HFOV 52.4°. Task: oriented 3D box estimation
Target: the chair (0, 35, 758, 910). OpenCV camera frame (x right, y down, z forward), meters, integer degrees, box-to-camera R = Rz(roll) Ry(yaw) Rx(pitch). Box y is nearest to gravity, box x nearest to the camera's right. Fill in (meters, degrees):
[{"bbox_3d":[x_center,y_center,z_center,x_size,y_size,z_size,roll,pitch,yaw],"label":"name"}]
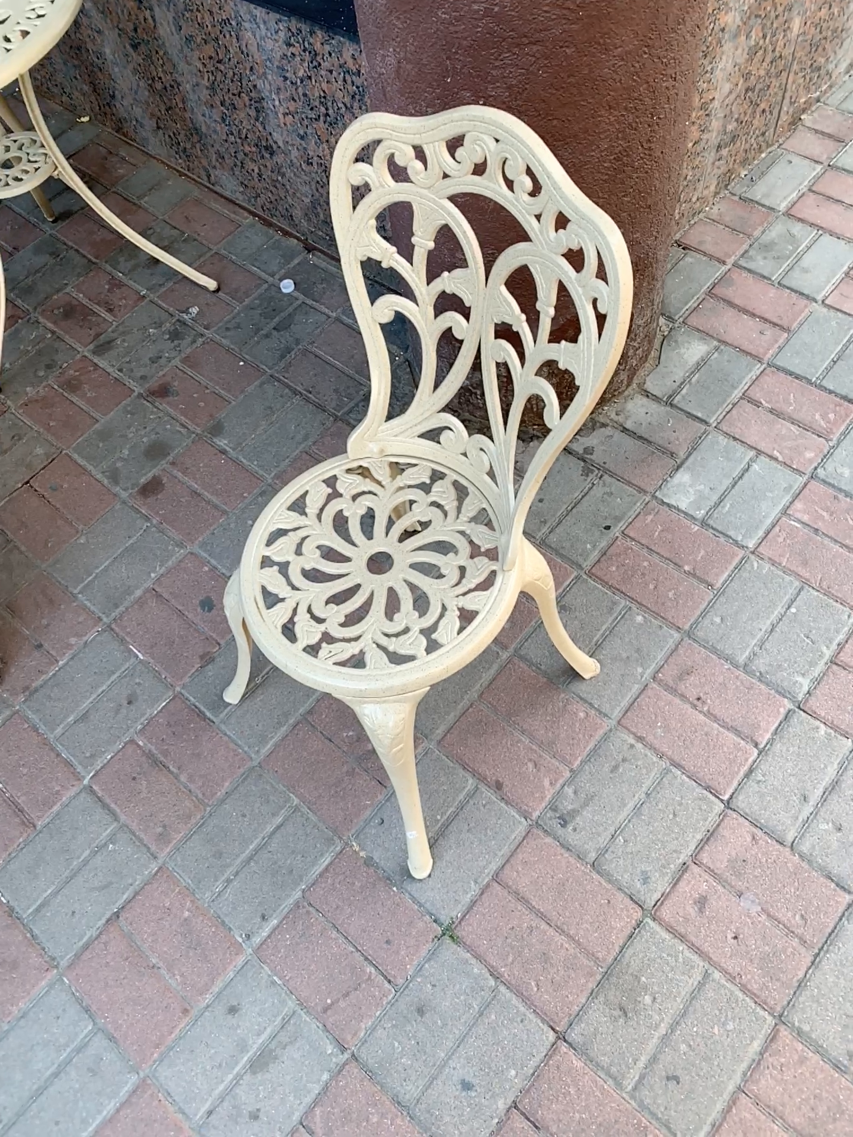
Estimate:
[{"bbox_3d":[-0.047,-0.045,1.063,0.481,0.798,0.550,36,69,25],"label":"chair"}]
